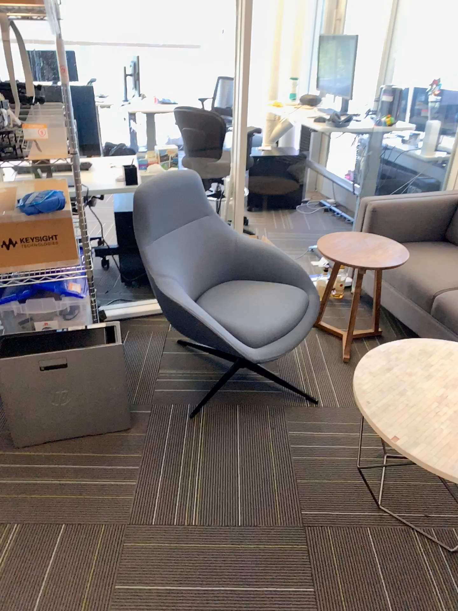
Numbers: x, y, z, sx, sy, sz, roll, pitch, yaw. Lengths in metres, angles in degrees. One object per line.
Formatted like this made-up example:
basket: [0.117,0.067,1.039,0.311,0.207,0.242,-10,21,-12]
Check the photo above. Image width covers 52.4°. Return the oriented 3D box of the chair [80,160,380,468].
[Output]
chair: [0.011,-0.062,2.251,1.003,0.964,0.842,20,35,29]
